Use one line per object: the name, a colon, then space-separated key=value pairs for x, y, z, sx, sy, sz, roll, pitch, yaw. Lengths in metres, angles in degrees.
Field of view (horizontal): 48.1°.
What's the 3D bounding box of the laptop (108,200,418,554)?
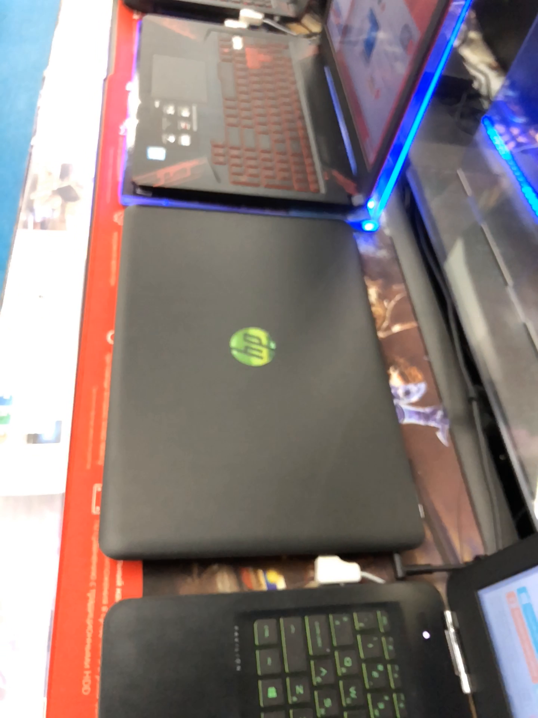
laptop: x=-0.012 y=-0.011 z=0.555 sx=0.232 sy=0.012 sz=0.367 roll=1 pitch=55 yaw=-9
